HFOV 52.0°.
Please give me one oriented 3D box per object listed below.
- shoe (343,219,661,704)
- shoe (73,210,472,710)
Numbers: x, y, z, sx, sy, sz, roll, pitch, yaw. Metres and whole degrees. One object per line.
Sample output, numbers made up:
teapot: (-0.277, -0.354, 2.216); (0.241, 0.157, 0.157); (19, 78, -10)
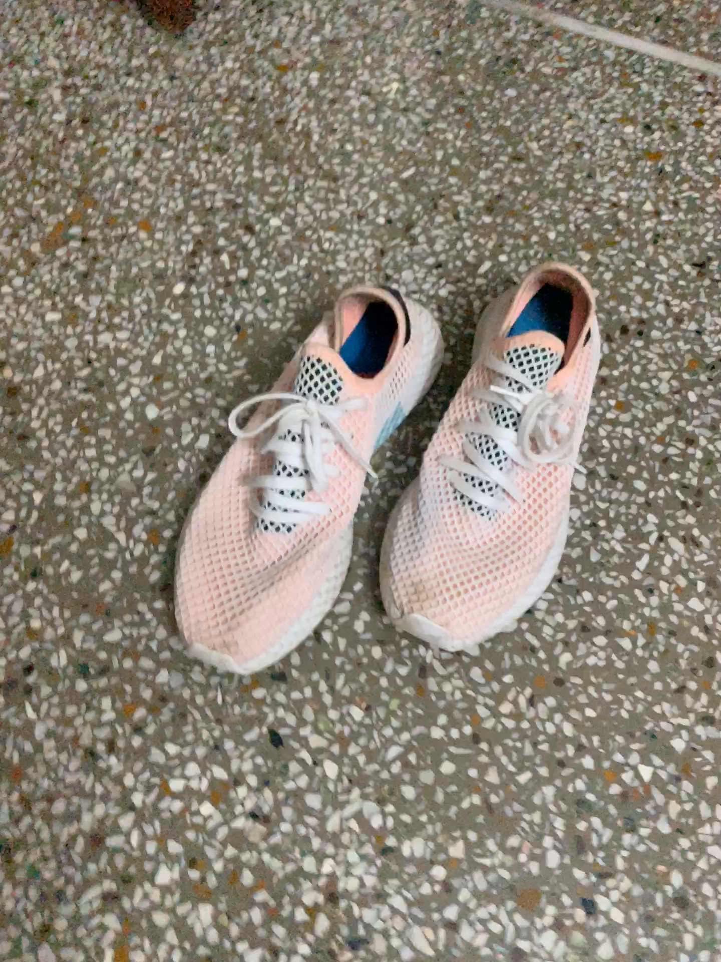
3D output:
shoe: (0.102, -0.023, 0.521); (0.122, 0.100, 0.309); (20, 65, 8)
shoe: (-0.042, -0.024, 0.505); (0.122, 0.100, 0.309); (22, 65, 9)
